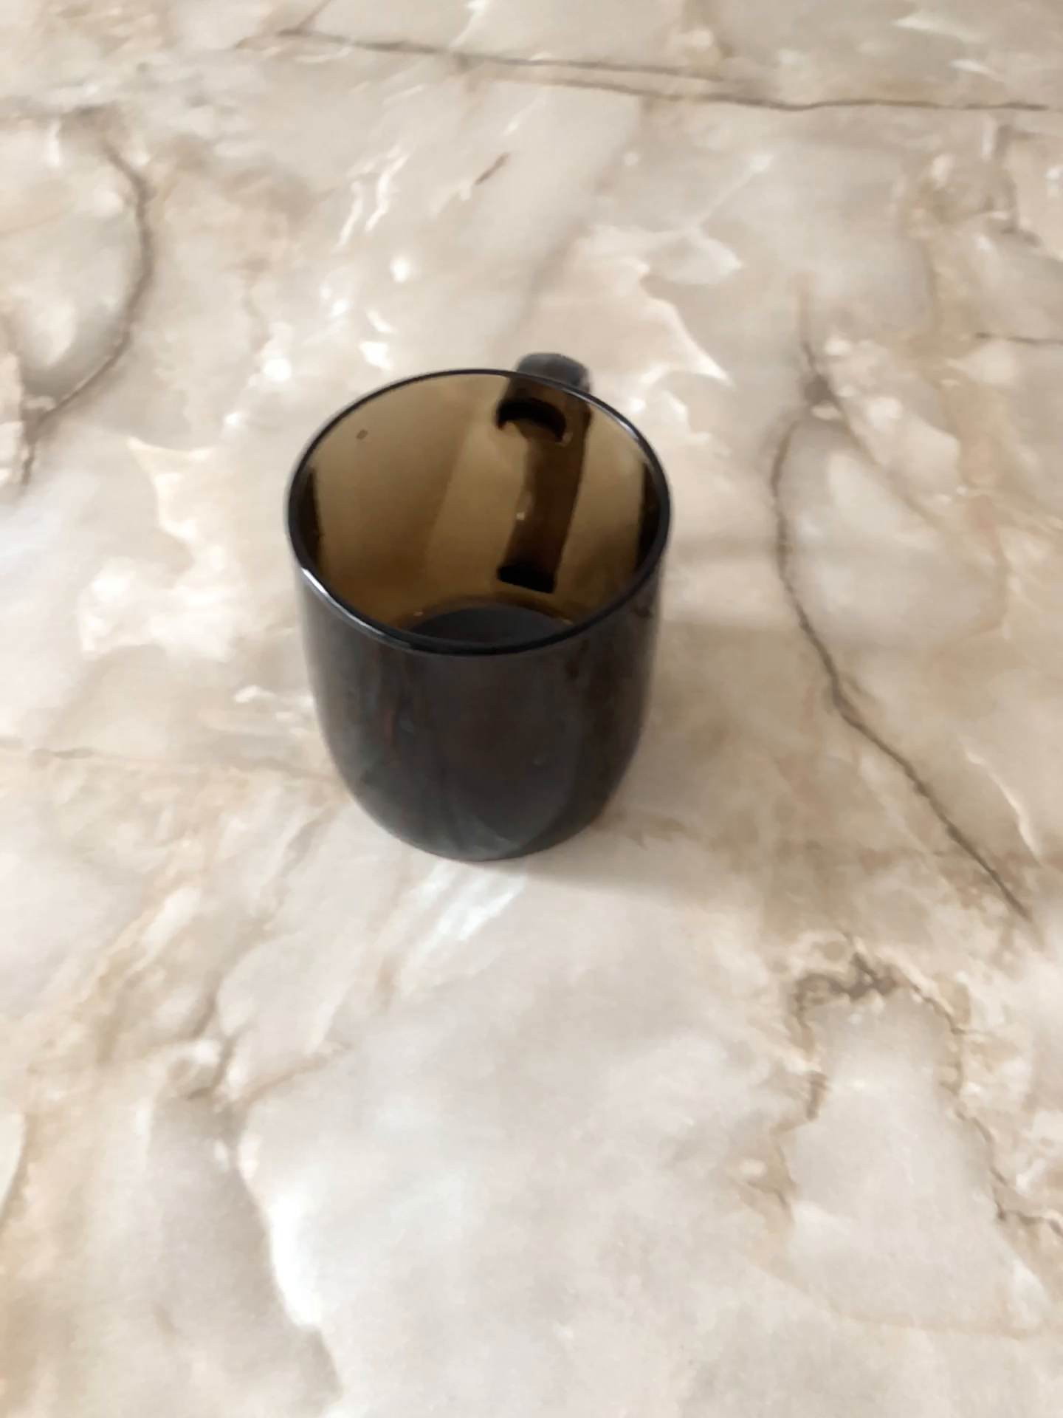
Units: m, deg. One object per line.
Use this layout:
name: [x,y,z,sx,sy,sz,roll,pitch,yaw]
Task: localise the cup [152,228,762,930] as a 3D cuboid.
cup: [-0.011,-0.032,0.288,0.091,0.090,0.123,18,58,9]
